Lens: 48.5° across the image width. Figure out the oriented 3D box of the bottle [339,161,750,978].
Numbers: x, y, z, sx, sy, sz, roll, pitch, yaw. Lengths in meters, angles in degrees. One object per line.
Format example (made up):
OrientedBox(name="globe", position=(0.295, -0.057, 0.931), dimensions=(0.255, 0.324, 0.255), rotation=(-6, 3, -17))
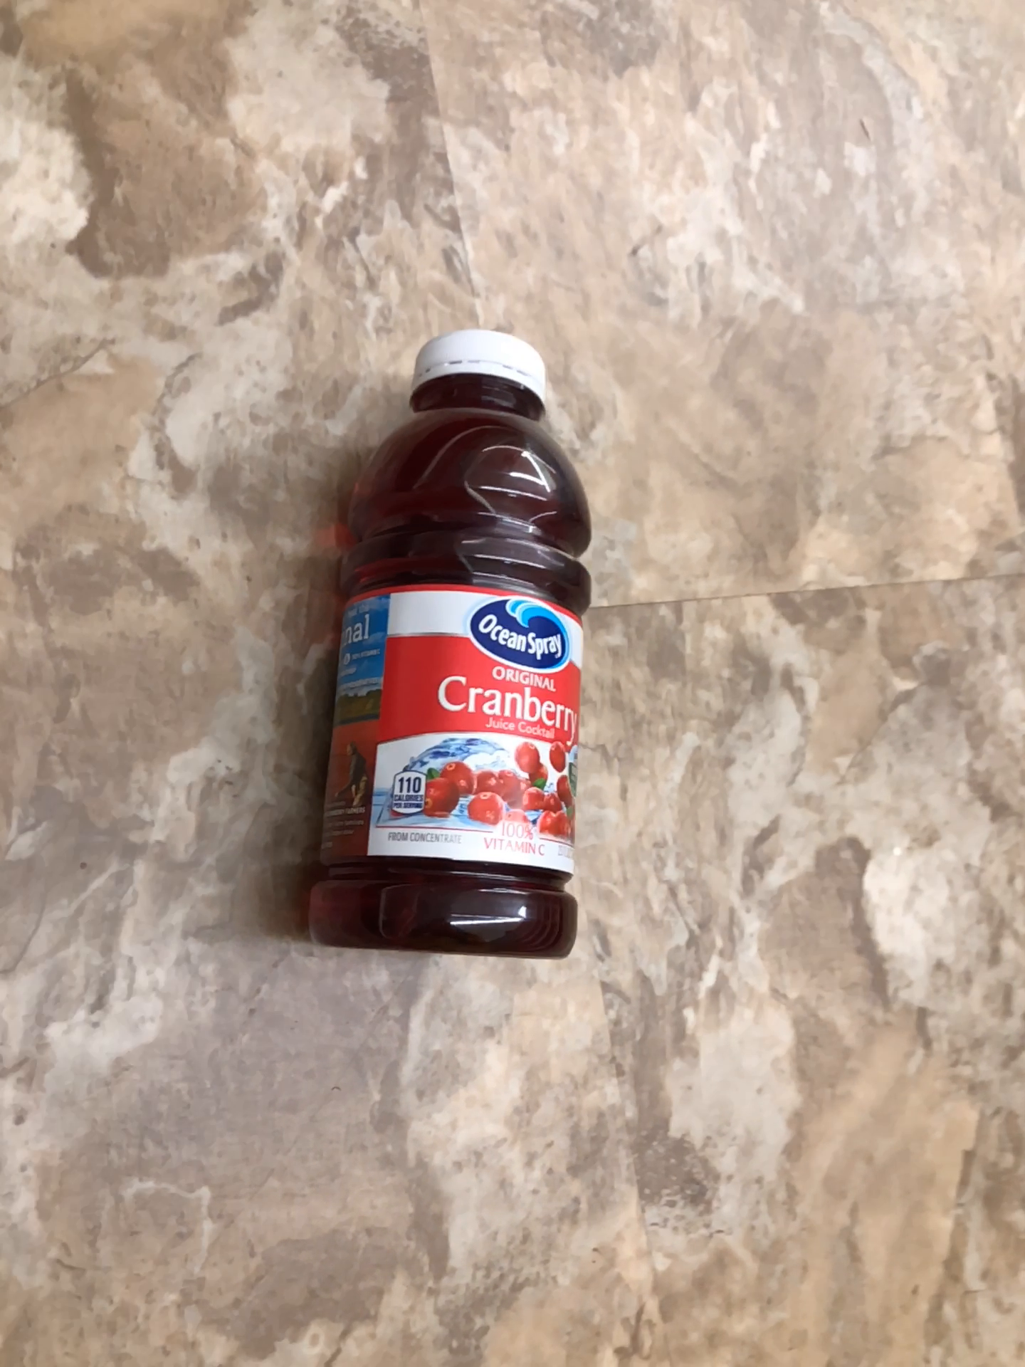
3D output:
OrientedBox(name="bottle", position=(0.012, -0.027, 0.359), dimensions=(0.090, 0.083, 0.226), rotation=(10, 74, -26))
